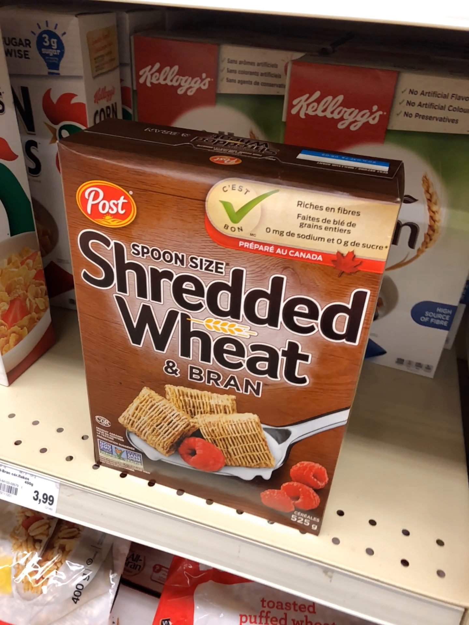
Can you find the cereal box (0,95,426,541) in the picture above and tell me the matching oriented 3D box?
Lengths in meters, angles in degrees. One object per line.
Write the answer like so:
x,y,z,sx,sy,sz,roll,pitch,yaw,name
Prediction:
-0.017,0.010,0.335,0.210,0.248,0.071,13,35,14,cereal box
